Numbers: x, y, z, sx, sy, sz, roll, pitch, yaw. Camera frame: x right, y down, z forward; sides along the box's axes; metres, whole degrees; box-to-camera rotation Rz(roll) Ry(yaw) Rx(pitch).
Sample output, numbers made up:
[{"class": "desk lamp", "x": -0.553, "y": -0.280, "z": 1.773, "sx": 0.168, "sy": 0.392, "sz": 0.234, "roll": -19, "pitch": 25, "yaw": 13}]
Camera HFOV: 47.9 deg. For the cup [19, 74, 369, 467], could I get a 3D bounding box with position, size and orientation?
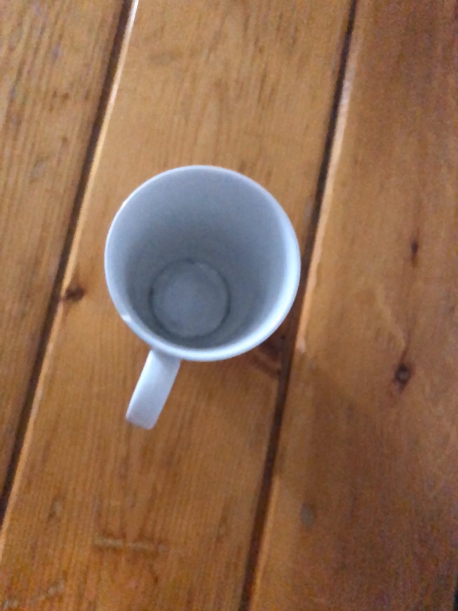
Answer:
[{"class": "cup", "x": -0.016, "y": -0.010, "z": 0.277, "sx": 0.100, "sy": 0.120, "sz": 0.140, "roll": 23, "pitch": 82, "yaw": -2}]
